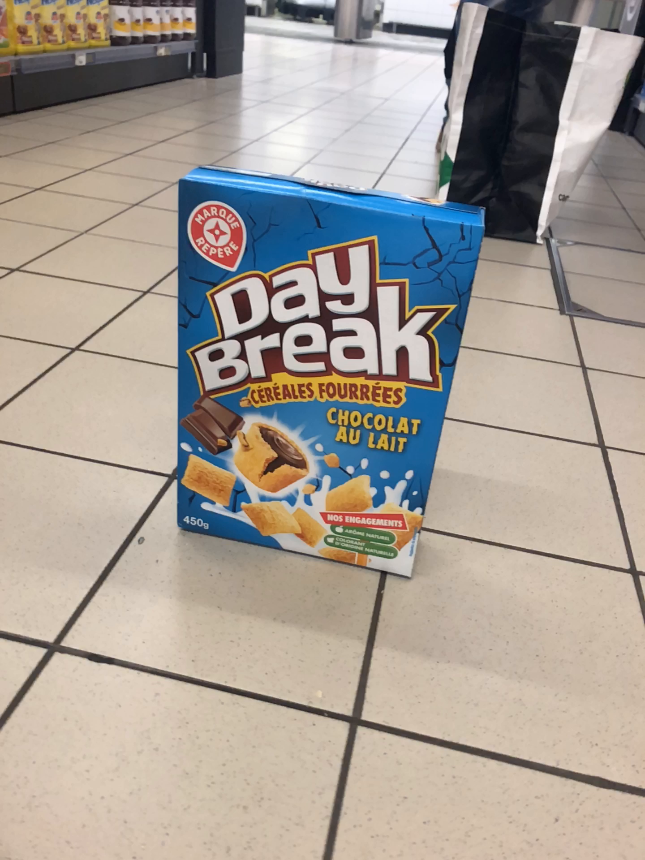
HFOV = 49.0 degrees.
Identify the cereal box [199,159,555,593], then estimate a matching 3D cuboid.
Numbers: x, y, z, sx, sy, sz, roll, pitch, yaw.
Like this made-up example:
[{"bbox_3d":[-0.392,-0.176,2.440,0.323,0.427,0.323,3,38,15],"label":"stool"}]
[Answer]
[{"bbox_3d":[0.024,-0.032,0.487,0.200,0.258,0.070,11,29,9],"label":"cereal box"}]
